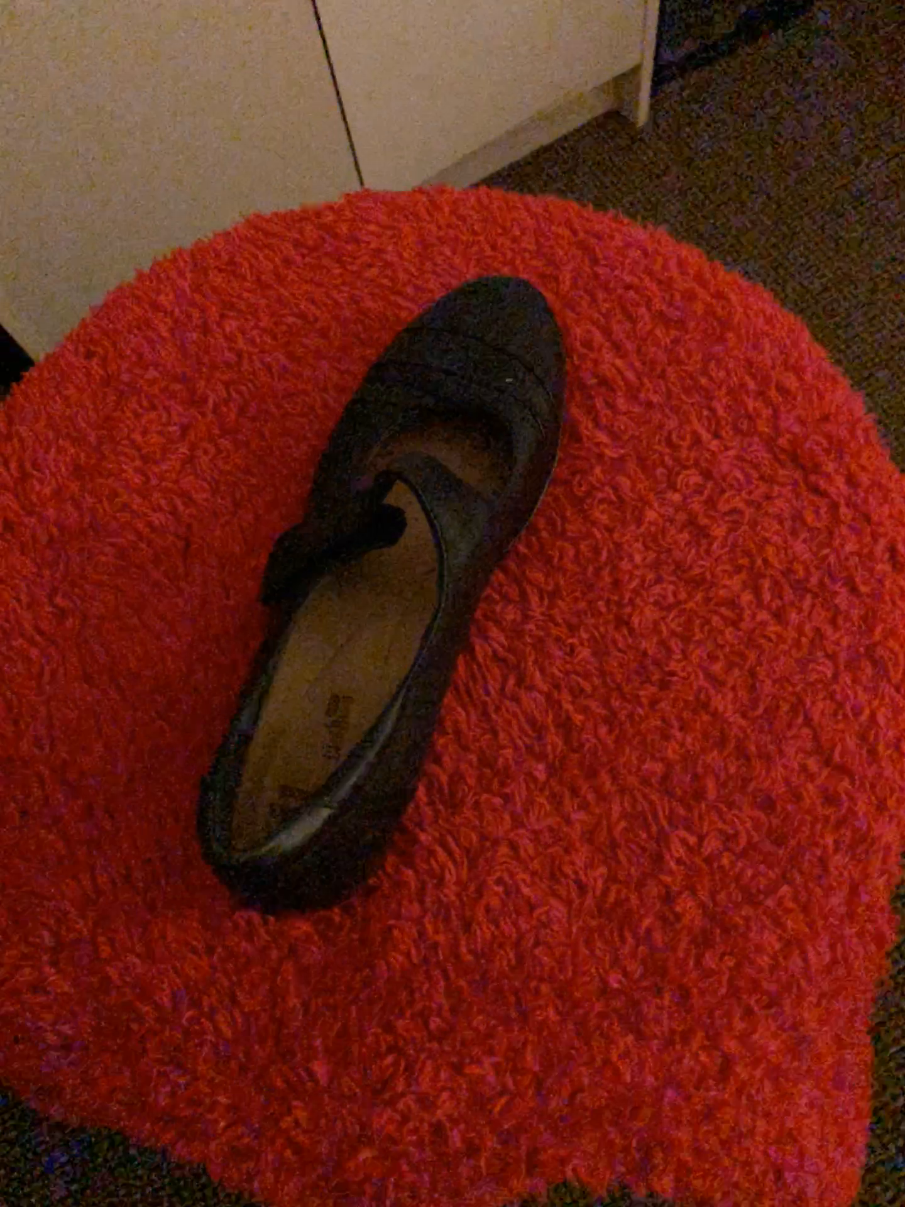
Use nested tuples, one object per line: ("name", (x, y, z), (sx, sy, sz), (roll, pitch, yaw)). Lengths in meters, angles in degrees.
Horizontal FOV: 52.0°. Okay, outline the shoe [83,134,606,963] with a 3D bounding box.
("shoe", (-0.019, -0.027, 0.332), (0.093, 0.080, 0.276), (11, 71, 12))
